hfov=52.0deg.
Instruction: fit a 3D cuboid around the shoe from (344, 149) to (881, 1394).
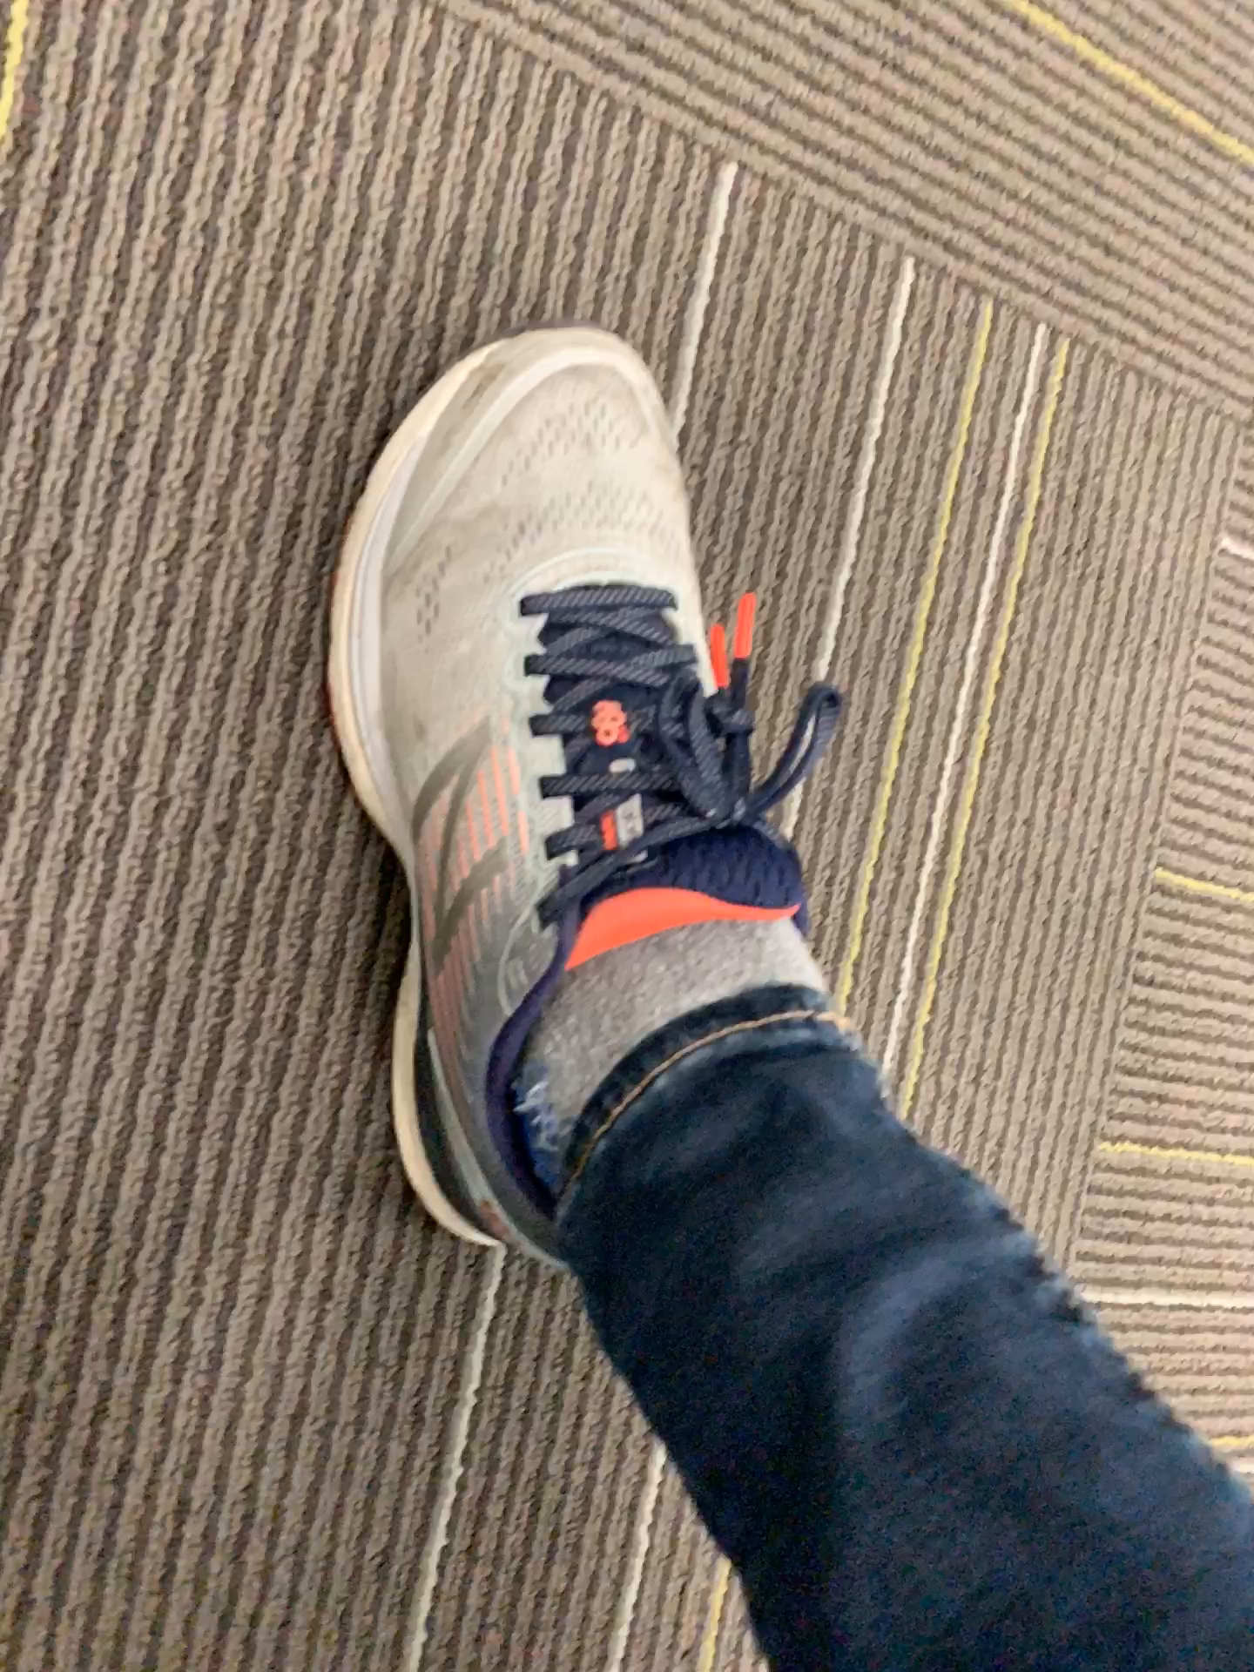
[{"bbox_3d":[-0.009,-0.013,0.344,0.110,0.090,0.270,-2,96,-27],"label":"shoe"}]
